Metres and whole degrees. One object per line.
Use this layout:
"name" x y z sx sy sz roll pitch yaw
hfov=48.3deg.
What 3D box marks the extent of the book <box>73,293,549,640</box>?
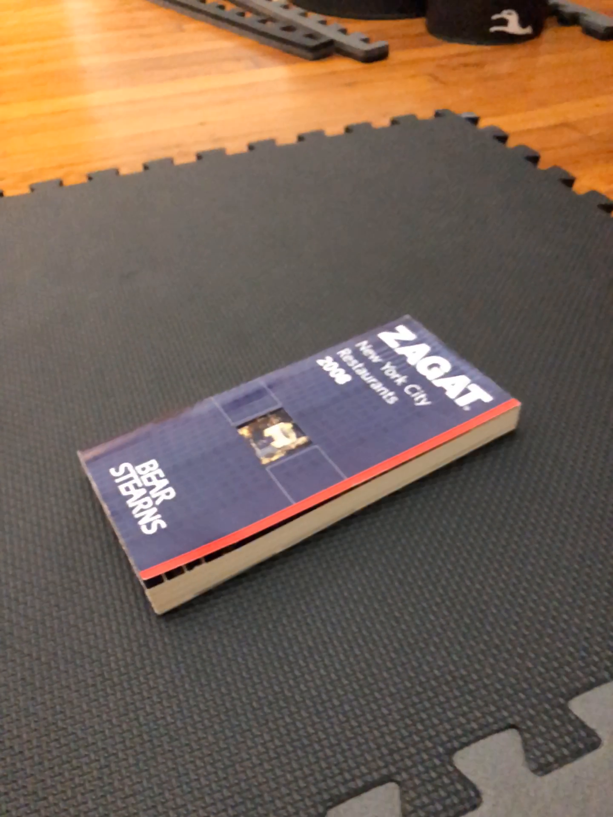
"book" 0.003 0.014 0.370 0.220 0.030 0.120 -24 48 -20
